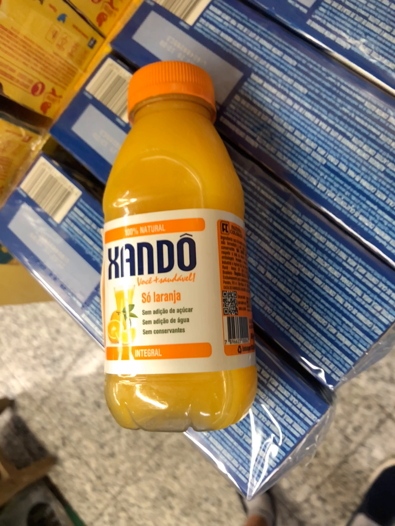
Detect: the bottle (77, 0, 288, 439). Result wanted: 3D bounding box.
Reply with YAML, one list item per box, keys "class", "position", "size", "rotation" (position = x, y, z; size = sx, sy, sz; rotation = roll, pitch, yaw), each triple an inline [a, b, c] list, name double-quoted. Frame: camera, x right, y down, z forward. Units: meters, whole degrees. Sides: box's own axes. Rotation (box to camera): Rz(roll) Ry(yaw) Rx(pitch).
- class: "bottle"
  position: [-0.002, -0.020, 0.203]
  size: [0.060, 0.080, 0.170]
  rotation: [-6, 83, 18]
